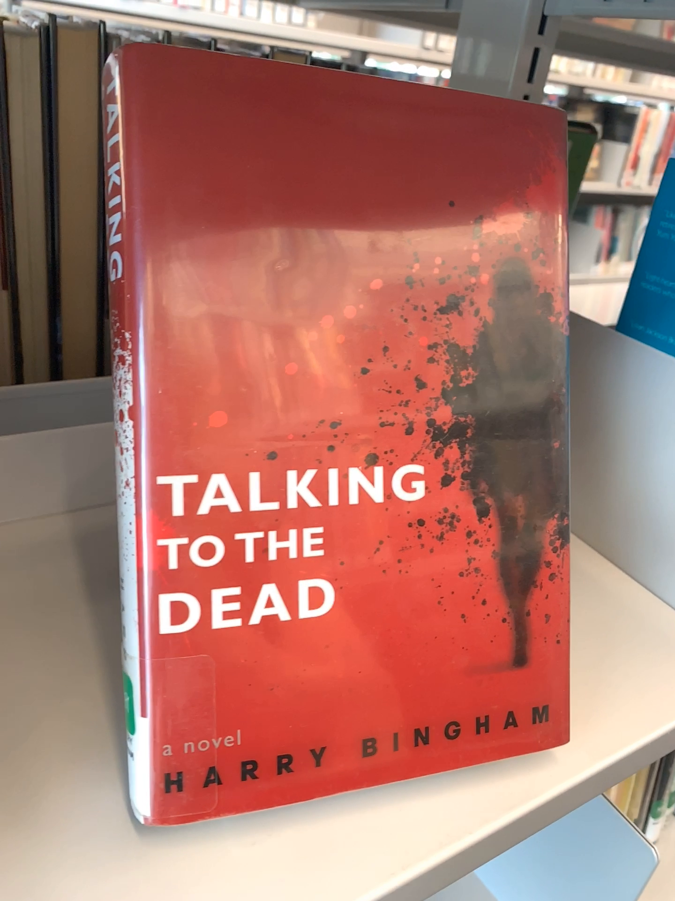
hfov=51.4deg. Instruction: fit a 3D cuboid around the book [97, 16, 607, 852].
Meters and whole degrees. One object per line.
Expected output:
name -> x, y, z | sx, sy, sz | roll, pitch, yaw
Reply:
book -> 0.009, -0.006, 0.240 | 0.164, 0.231, 0.040 | -2, 2, -19
